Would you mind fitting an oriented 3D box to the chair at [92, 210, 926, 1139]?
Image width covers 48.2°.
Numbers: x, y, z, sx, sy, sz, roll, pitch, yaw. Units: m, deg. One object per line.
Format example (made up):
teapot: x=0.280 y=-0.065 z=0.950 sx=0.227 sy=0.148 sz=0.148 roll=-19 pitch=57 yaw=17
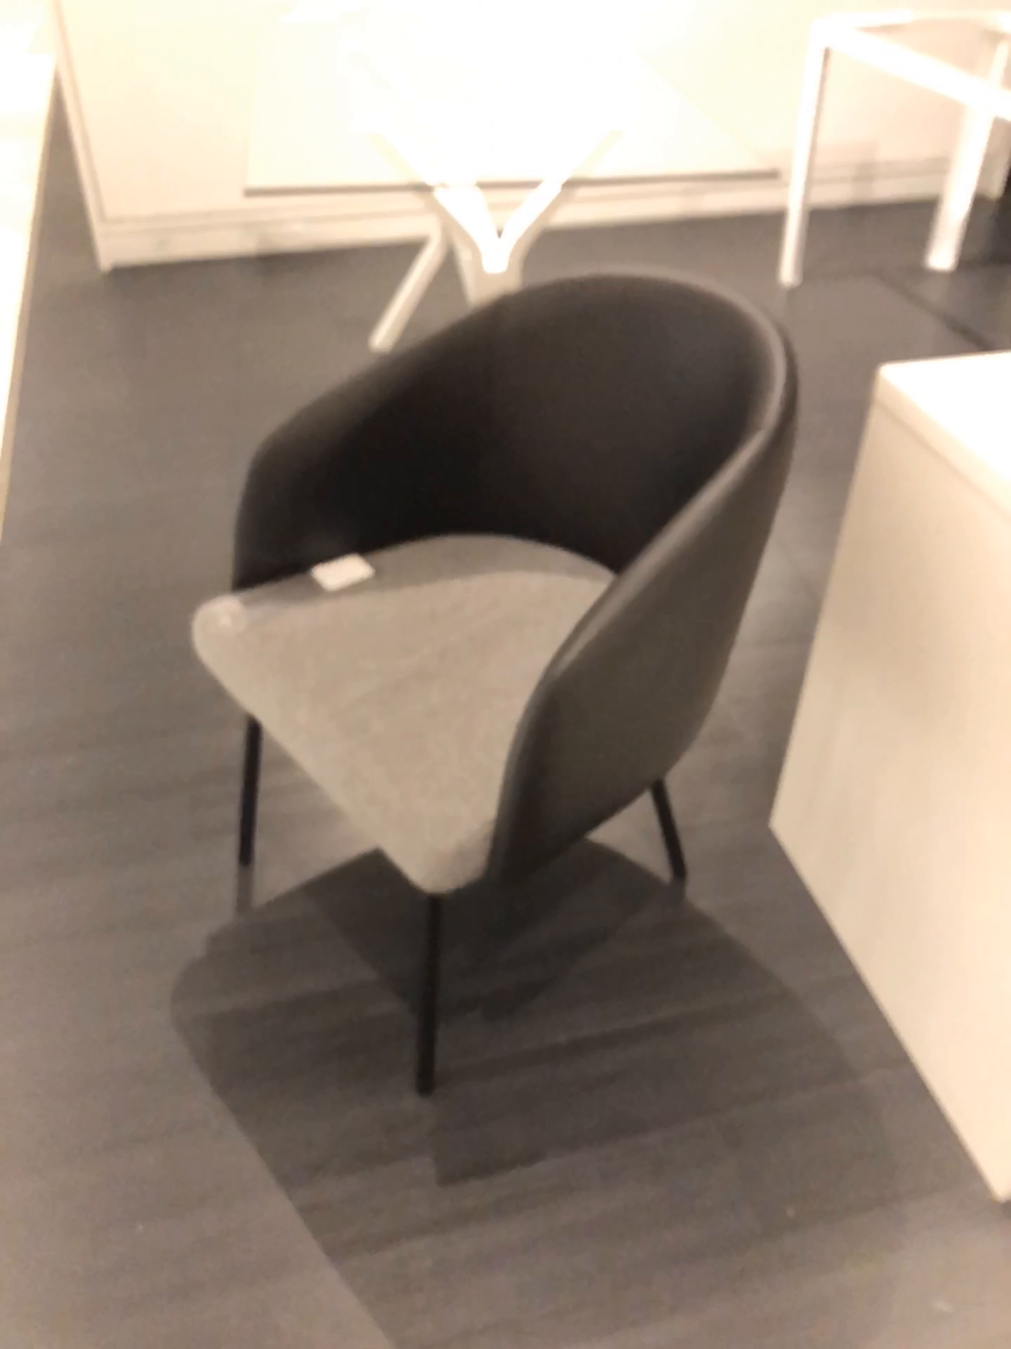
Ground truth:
chair: x=-0.018 y=-0.038 z=1.376 sx=0.592 sy=0.764 sz=0.613 roll=-25 pitch=45 yaw=-28
